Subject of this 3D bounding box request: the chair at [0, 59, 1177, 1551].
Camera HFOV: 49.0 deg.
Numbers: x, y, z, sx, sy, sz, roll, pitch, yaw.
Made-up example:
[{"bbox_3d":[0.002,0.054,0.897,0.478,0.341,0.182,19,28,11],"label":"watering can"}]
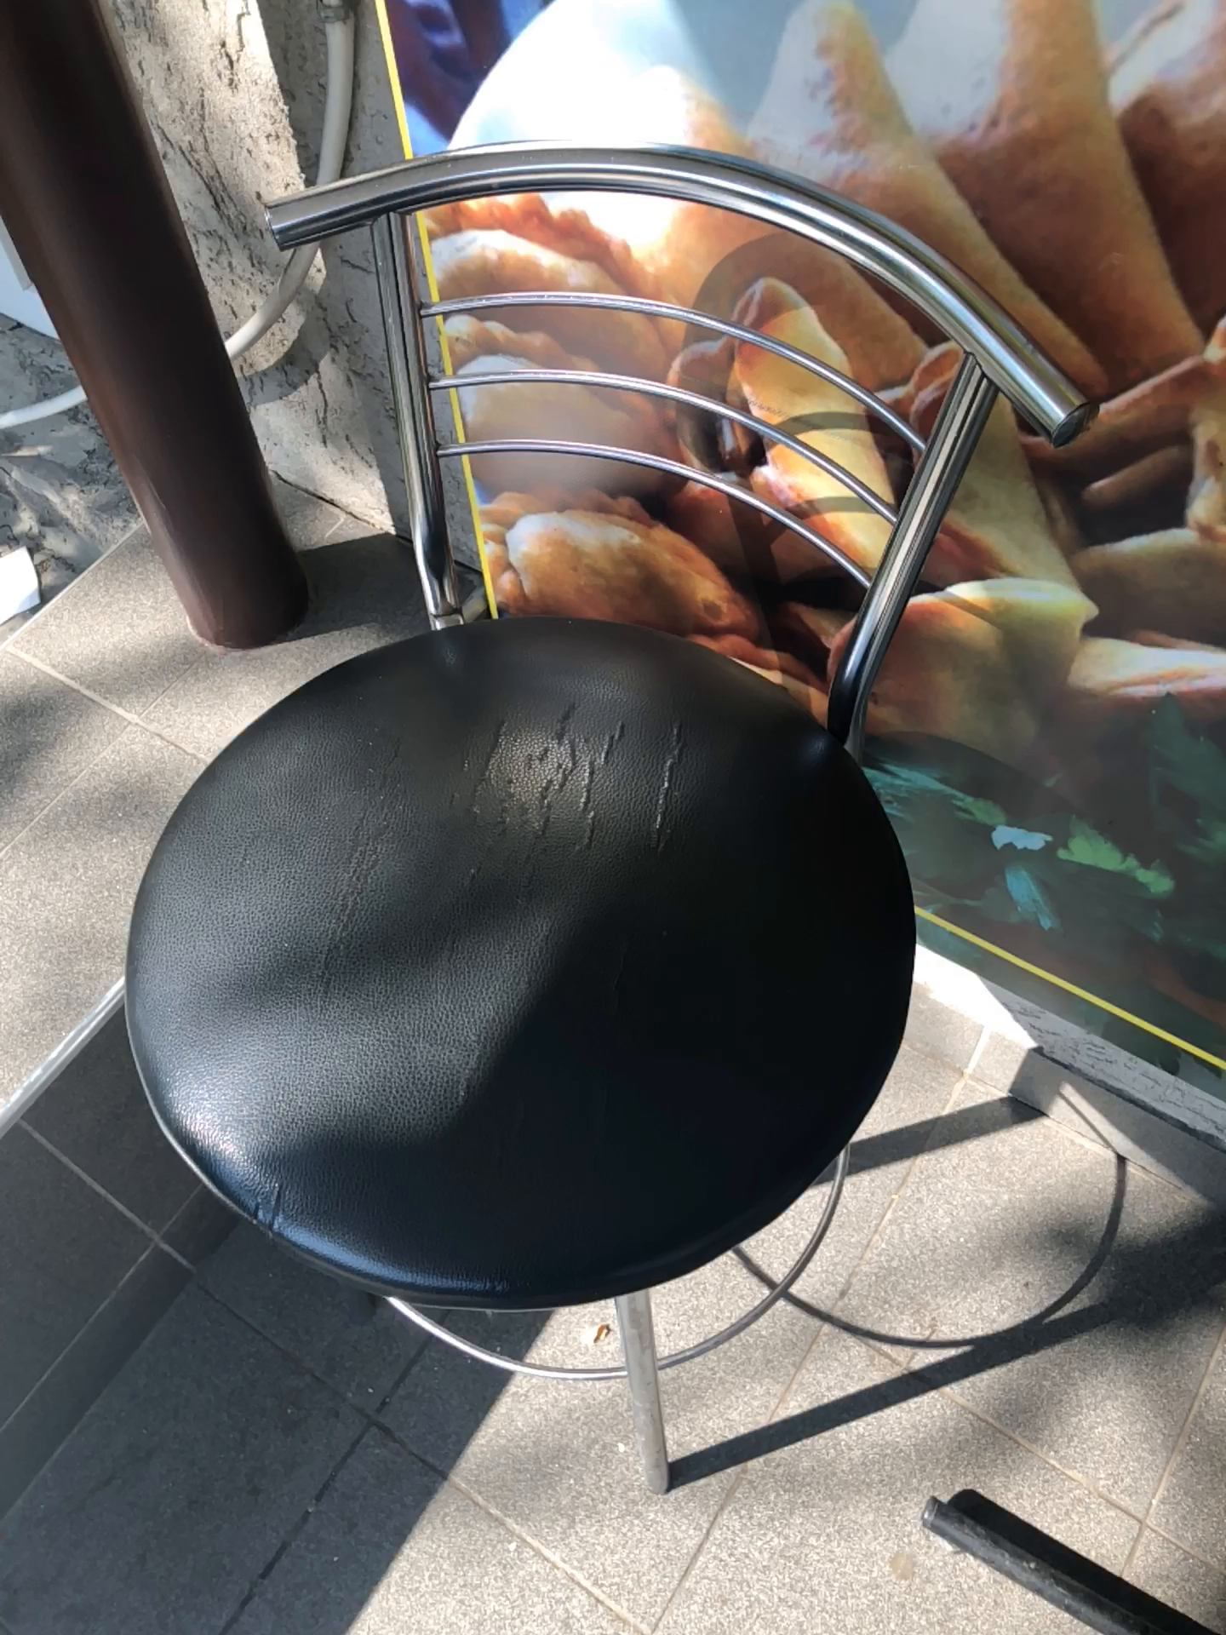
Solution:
[{"bbox_3d":[-0.021,0.138,1.027,0.510,1.097,0.501,14,58,13],"label":"chair"}]
